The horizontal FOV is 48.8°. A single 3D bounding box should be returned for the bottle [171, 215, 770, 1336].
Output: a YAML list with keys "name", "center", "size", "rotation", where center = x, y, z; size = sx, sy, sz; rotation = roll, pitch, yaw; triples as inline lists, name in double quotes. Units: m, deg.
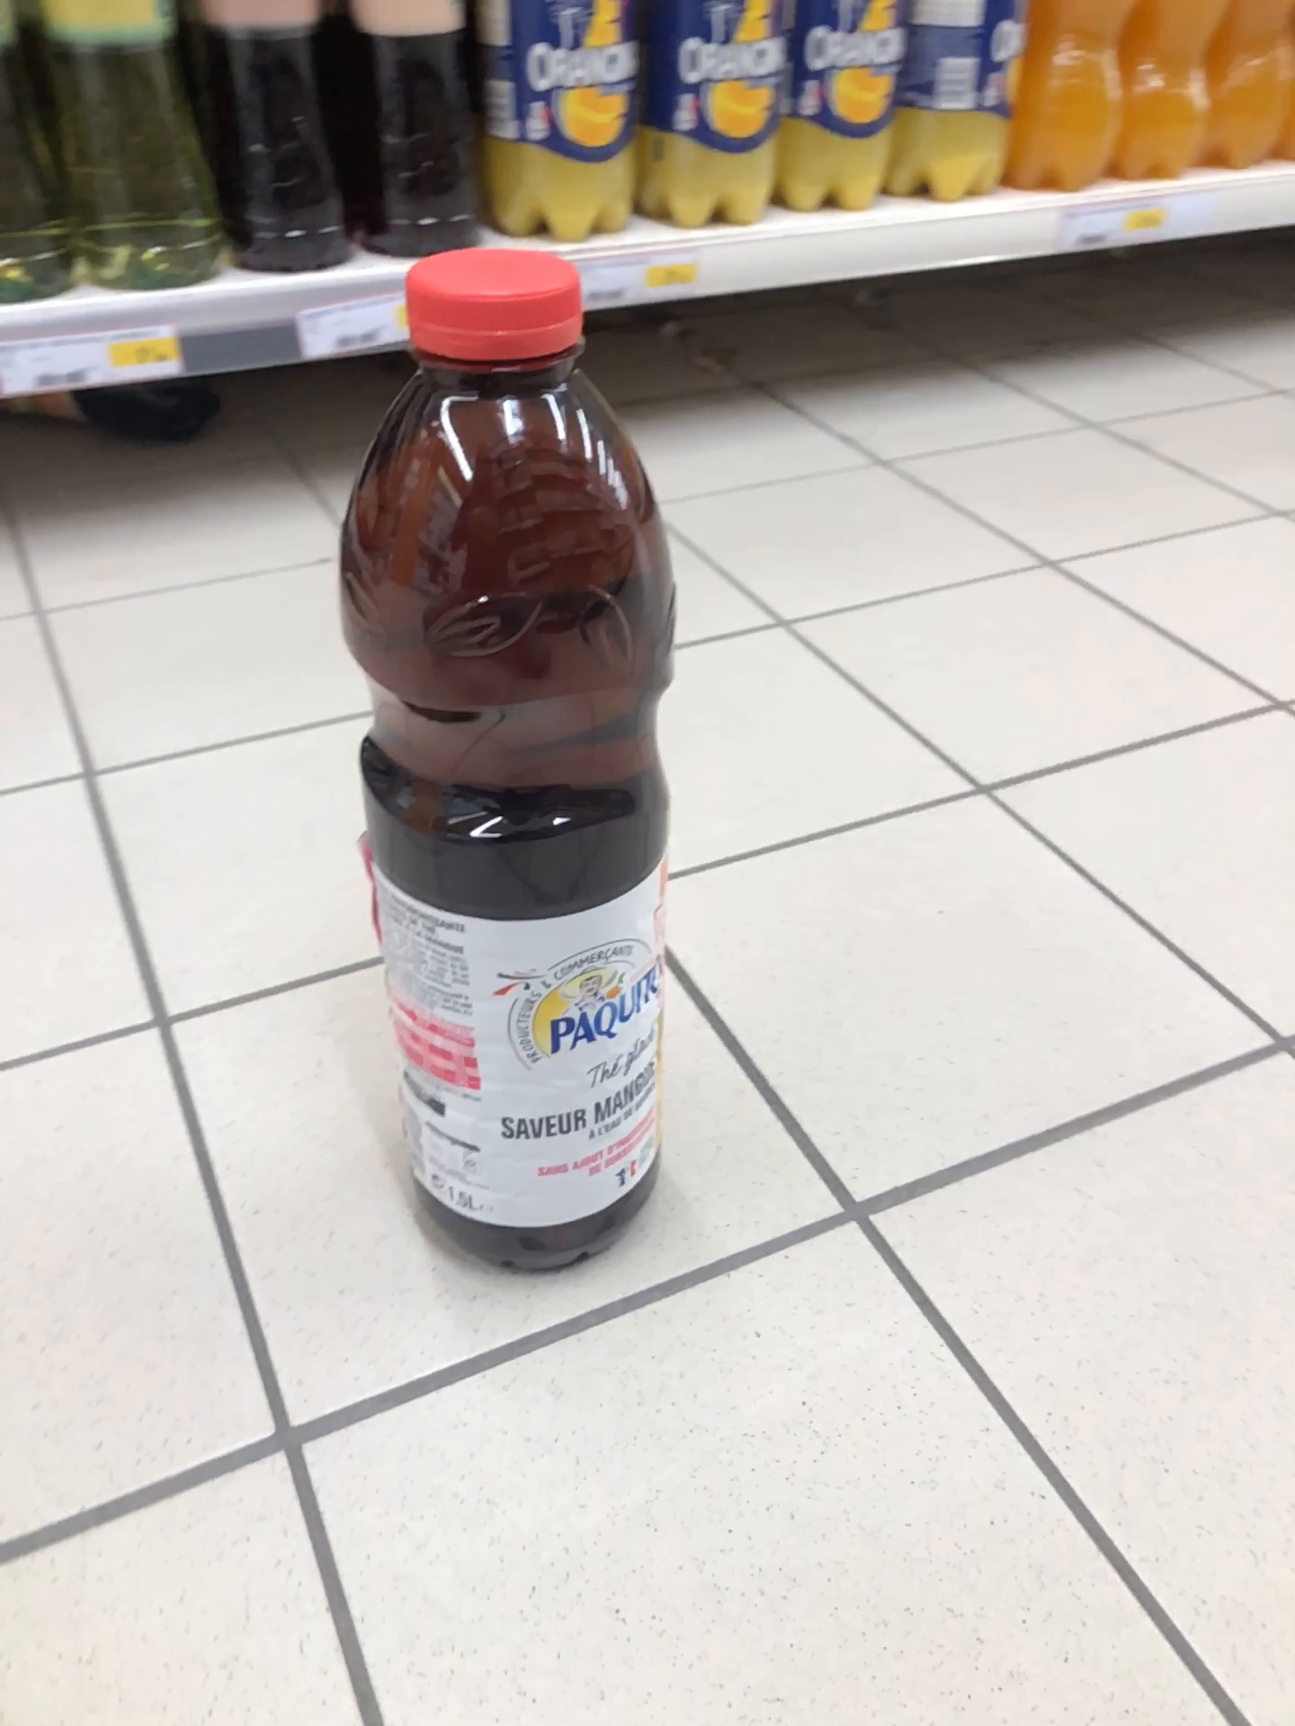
- name: "bottle"
  center: [-0.041, -0.014, 0.403]
  size: [0.101, 0.288, 0.090]
  rotation: [-27, 44, -34]
